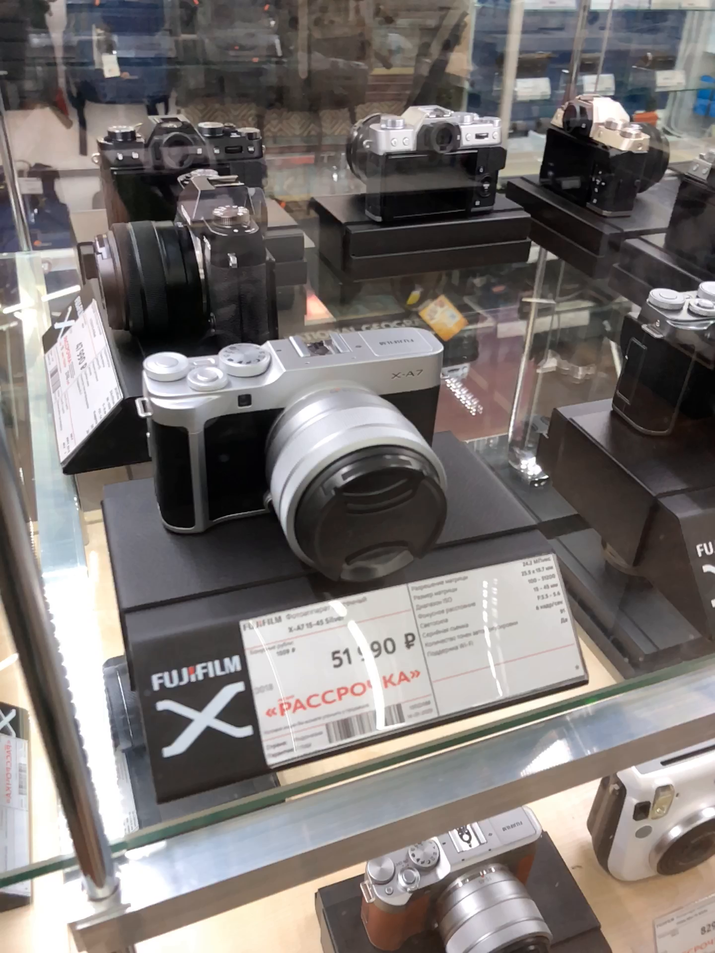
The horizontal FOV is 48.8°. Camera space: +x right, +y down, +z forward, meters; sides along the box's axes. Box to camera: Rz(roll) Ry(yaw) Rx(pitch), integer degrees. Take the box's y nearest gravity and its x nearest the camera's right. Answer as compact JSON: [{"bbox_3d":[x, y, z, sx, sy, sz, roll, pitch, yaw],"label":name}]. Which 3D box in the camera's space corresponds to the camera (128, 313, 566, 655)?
[{"bbox_3d":[-0.010,-0.006,0.304,0.133,0.066,0.101,-10,37,-18],"label":"camera"}]
